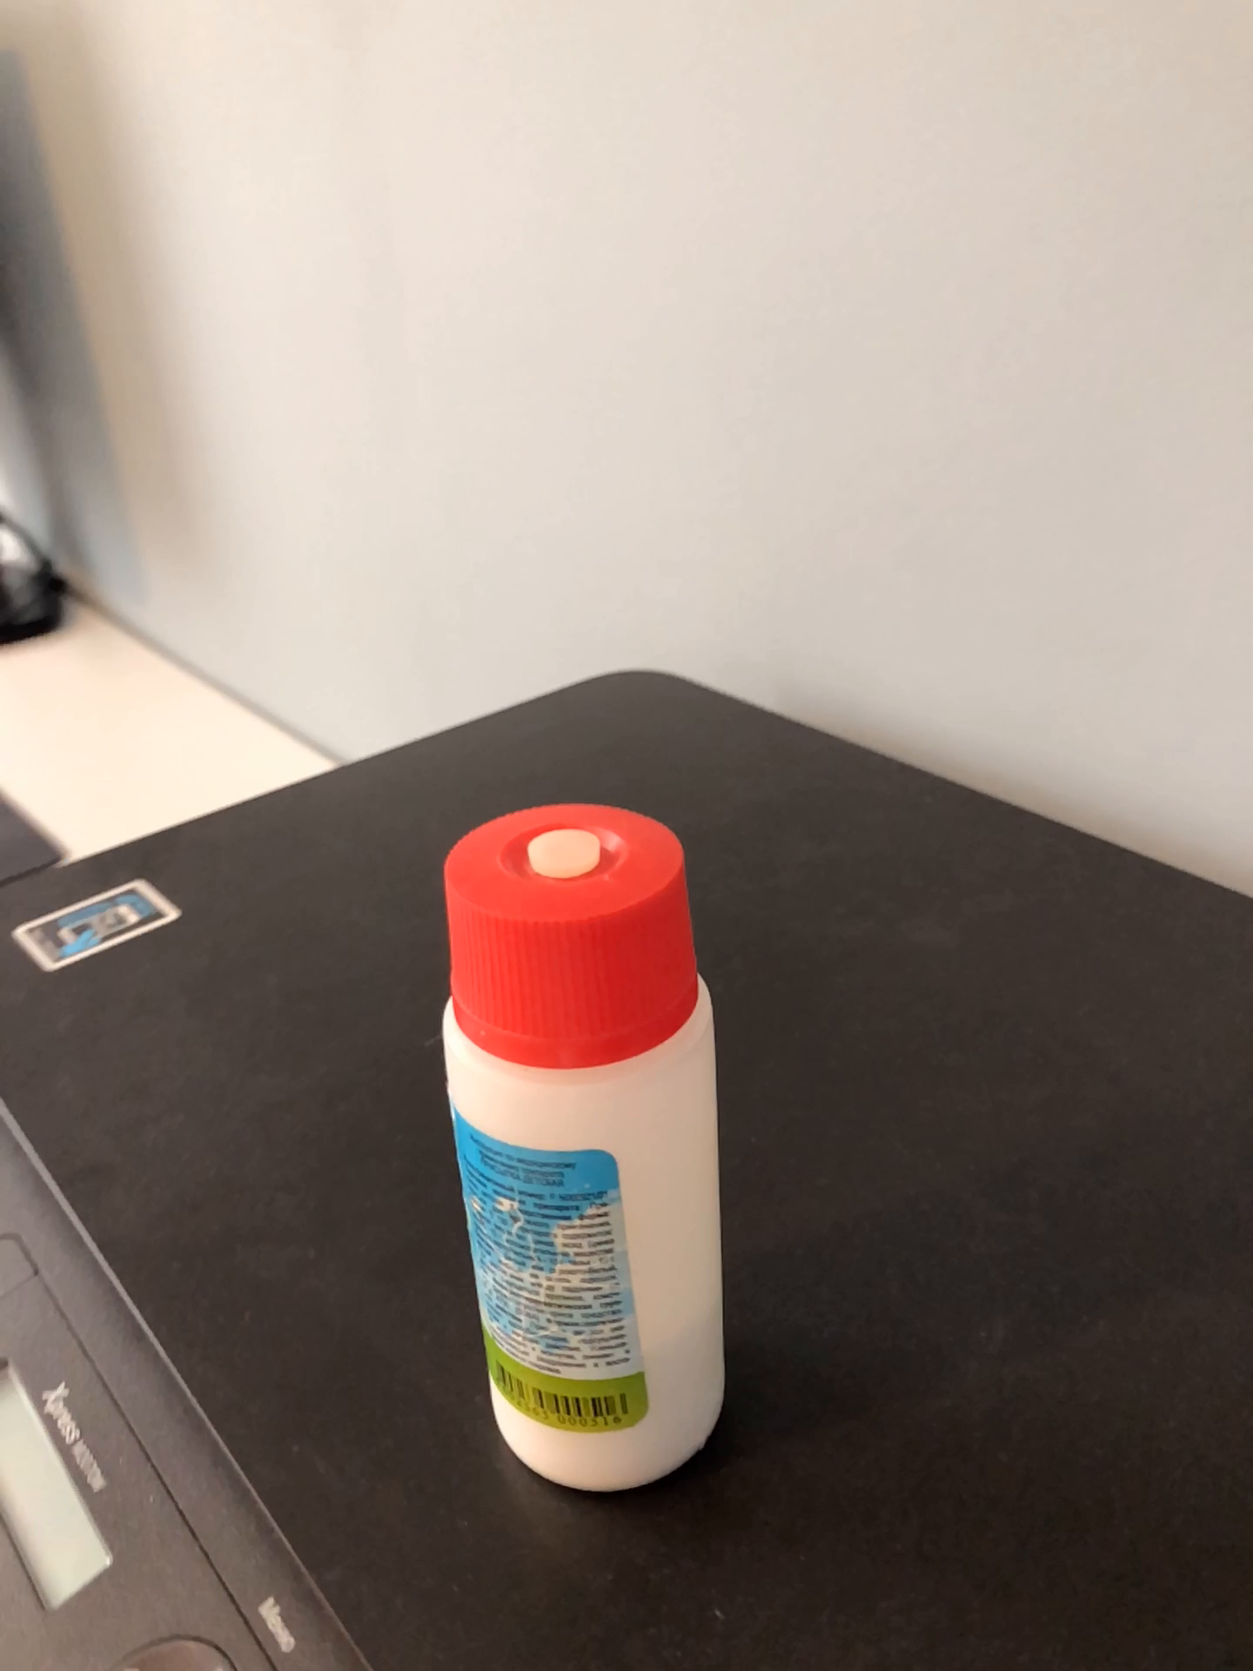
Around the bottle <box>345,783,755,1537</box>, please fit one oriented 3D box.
[{"bbox_3d":[-0.007,0.053,0.226,0.044,0.112,0.042,-3,28,2],"label":"bottle"}]
